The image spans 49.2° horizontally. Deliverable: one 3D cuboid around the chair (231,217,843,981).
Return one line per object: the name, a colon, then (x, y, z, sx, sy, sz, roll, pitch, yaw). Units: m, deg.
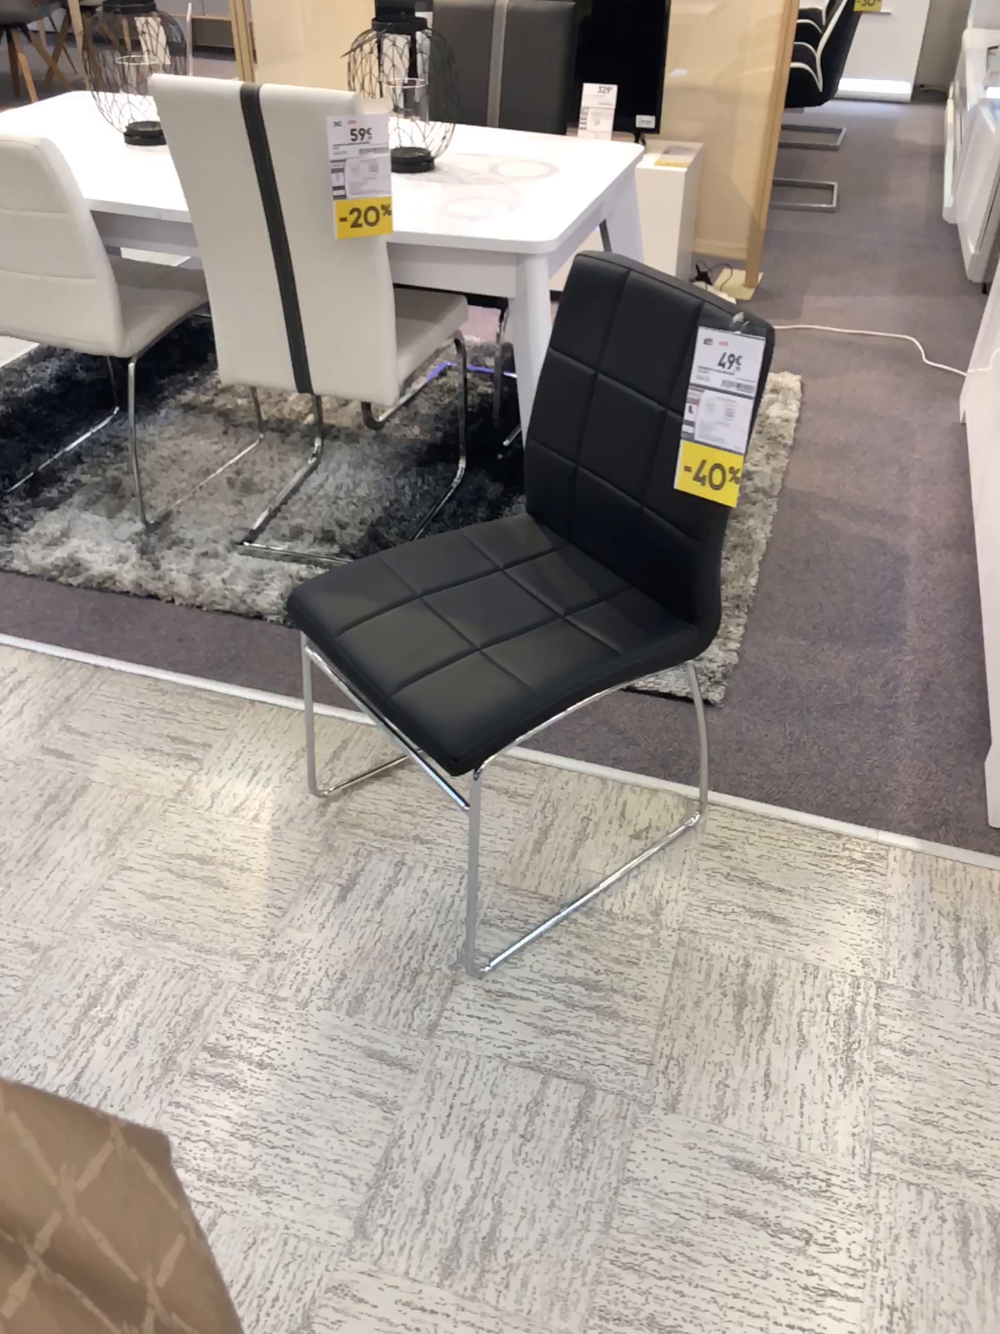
chair: (0.035, -0.115, 1.576, 0.538, 0.825, 0.521, -25, 44, -30)
